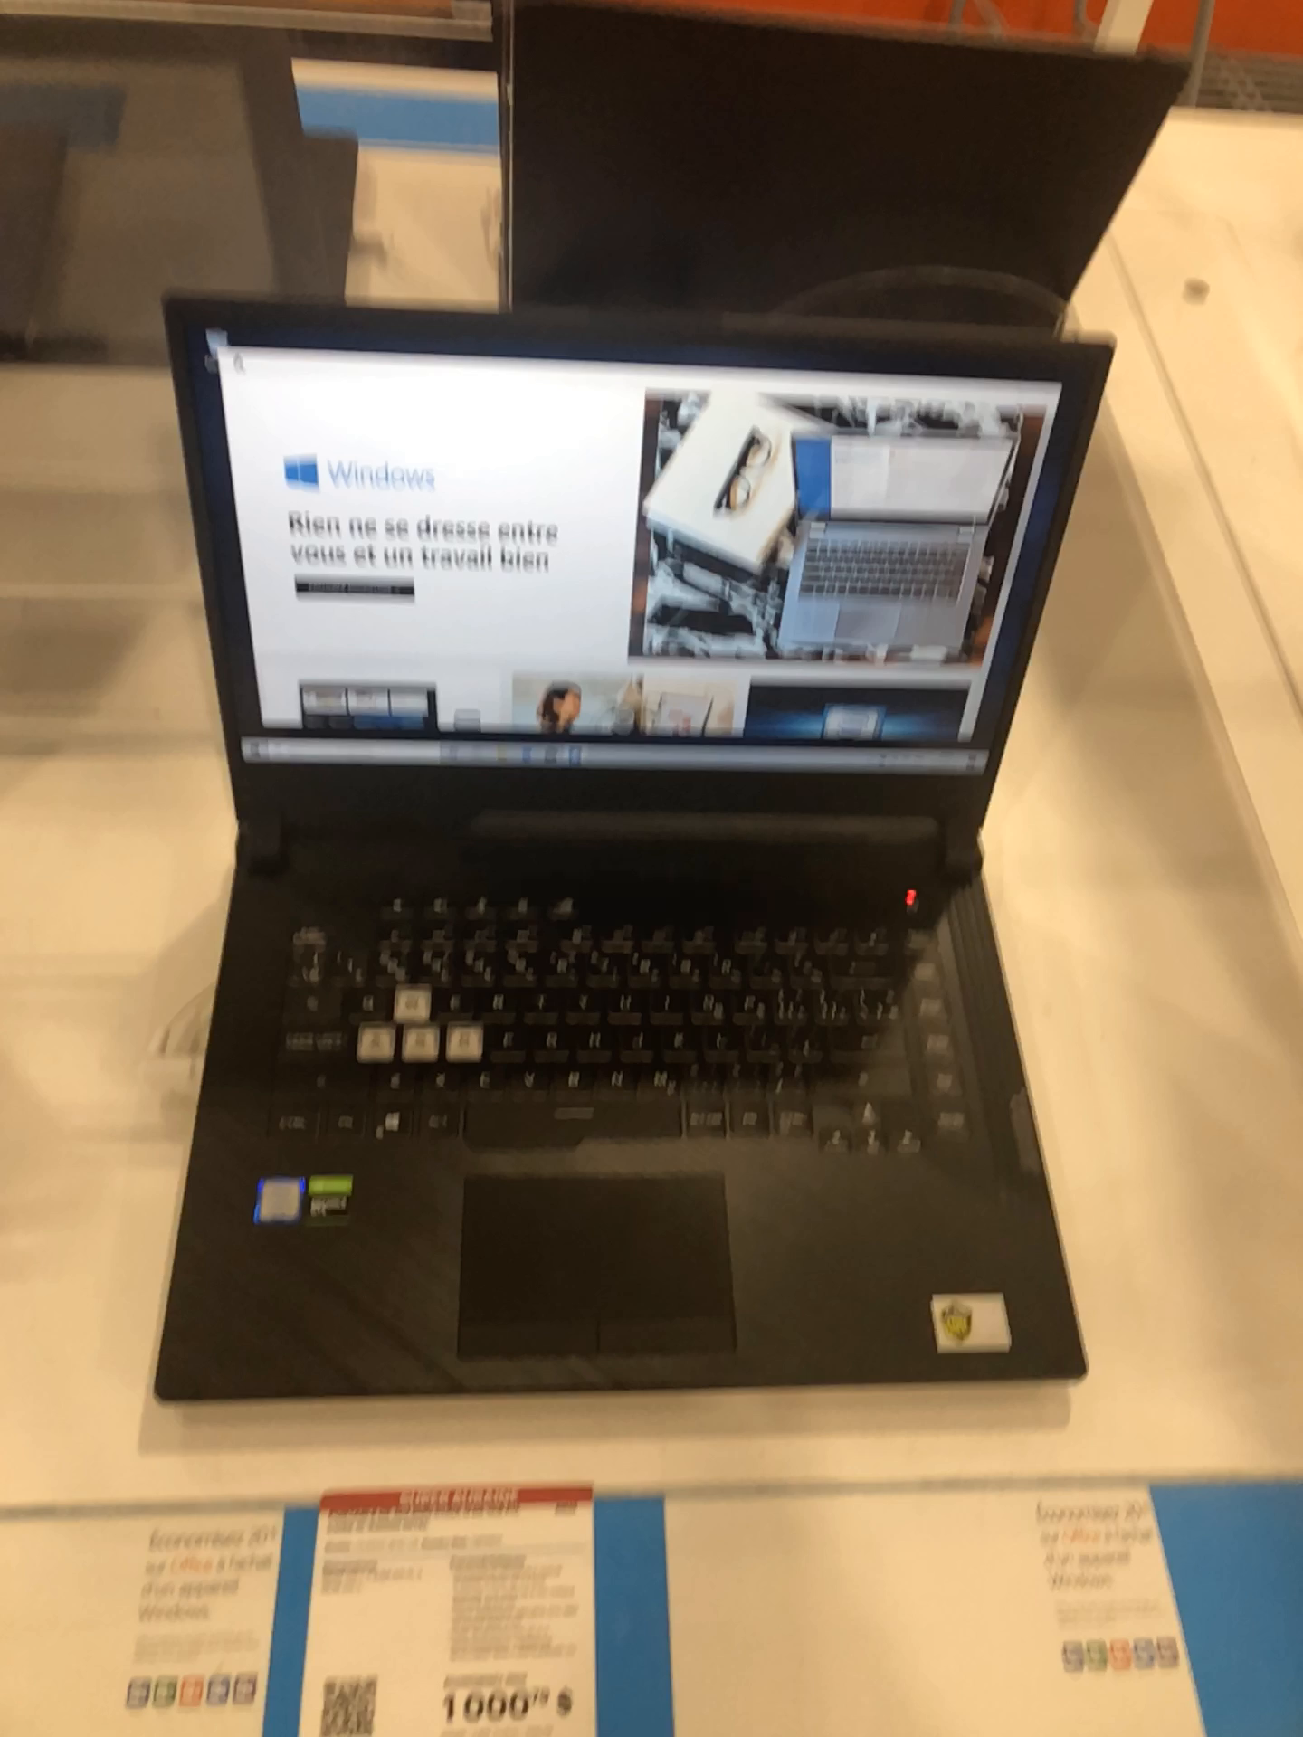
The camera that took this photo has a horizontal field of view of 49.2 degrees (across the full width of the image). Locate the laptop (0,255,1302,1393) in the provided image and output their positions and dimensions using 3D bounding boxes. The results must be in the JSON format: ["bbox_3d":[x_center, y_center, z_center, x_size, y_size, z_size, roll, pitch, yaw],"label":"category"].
[{"bbox_3d":[-0.001,-0.017,0.563,0.363,0.236,0.345,0,57,-5],"label":"laptop"}]
